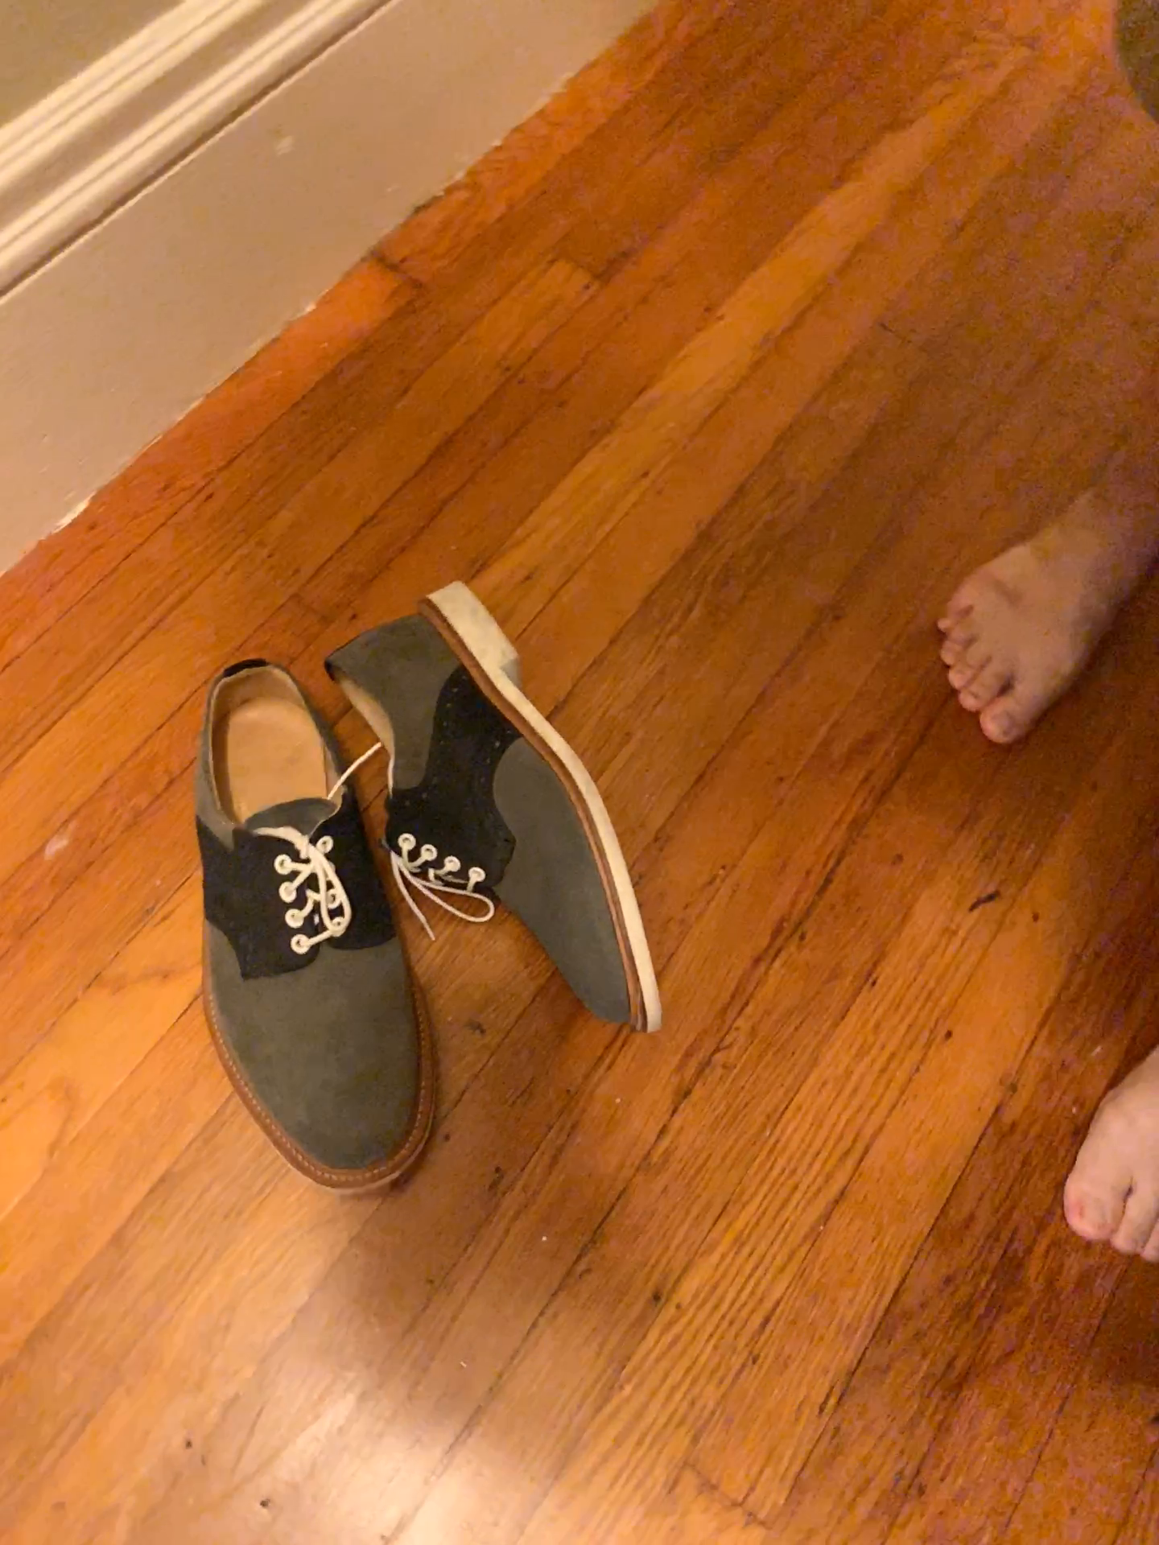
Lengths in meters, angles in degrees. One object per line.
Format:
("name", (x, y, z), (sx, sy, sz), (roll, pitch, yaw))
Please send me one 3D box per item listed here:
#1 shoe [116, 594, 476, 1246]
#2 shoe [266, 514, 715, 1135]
("shoe", (-0.151, 0.073, 0.634), (0.130, 0.100, 0.311), (-11, 69, -10))
("shoe", (-0.057, 0.030, 0.682), (0.120, 0.130, 0.310), (-23, 71, -12))
